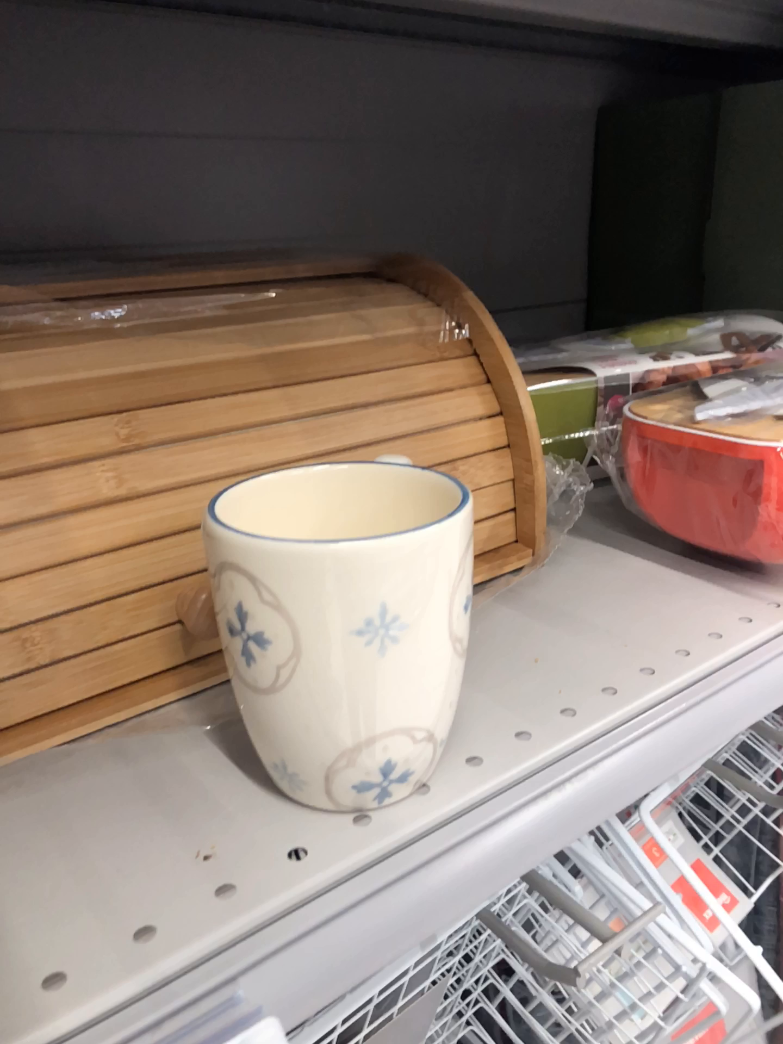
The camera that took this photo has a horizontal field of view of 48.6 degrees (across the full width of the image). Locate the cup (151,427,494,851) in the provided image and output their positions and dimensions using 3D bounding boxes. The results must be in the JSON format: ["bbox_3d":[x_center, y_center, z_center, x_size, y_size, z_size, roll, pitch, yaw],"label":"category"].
[{"bbox_3d":[-0.011,0.028,0.304,0.083,0.089,0.134,3,21,10],"label":"cup"}]
